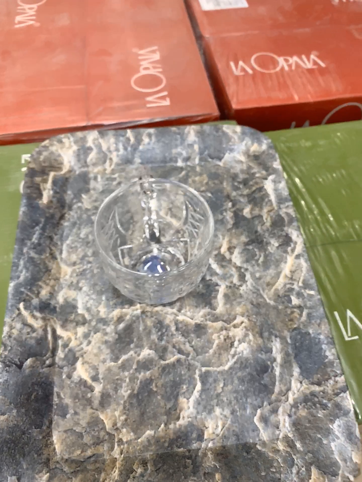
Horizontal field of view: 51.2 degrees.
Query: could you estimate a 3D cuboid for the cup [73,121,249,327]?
[{"bbox_3d":[-0.017,-0.012,0.251,0.080,0.070,0.100,-14,60,-10],"label":"cup"}]
